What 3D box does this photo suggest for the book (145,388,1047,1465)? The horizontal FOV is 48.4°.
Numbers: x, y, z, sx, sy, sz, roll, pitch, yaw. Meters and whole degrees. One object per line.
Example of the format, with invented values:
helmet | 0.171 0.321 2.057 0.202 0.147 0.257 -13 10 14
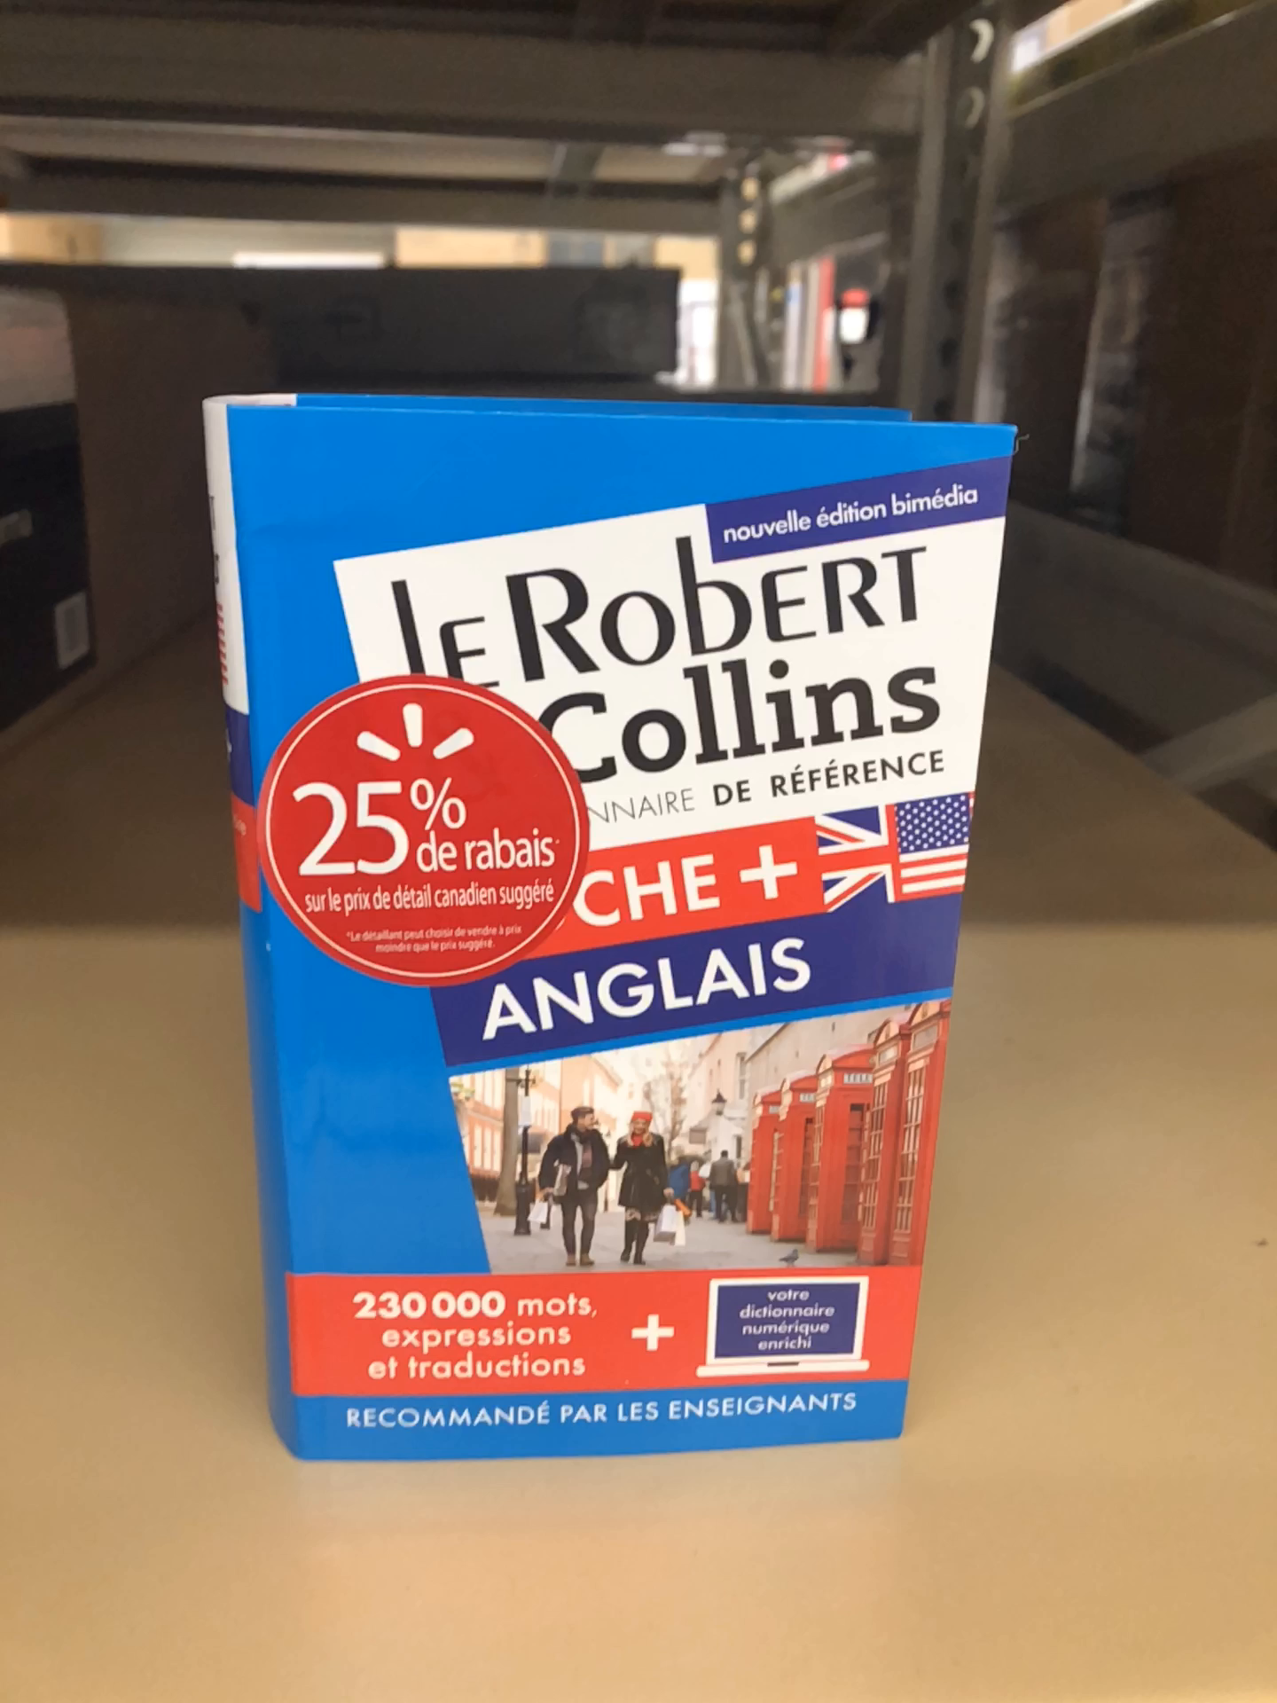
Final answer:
book | -0.009 0.014 0.247 0.120 0.173 0.059 0 20 -5
